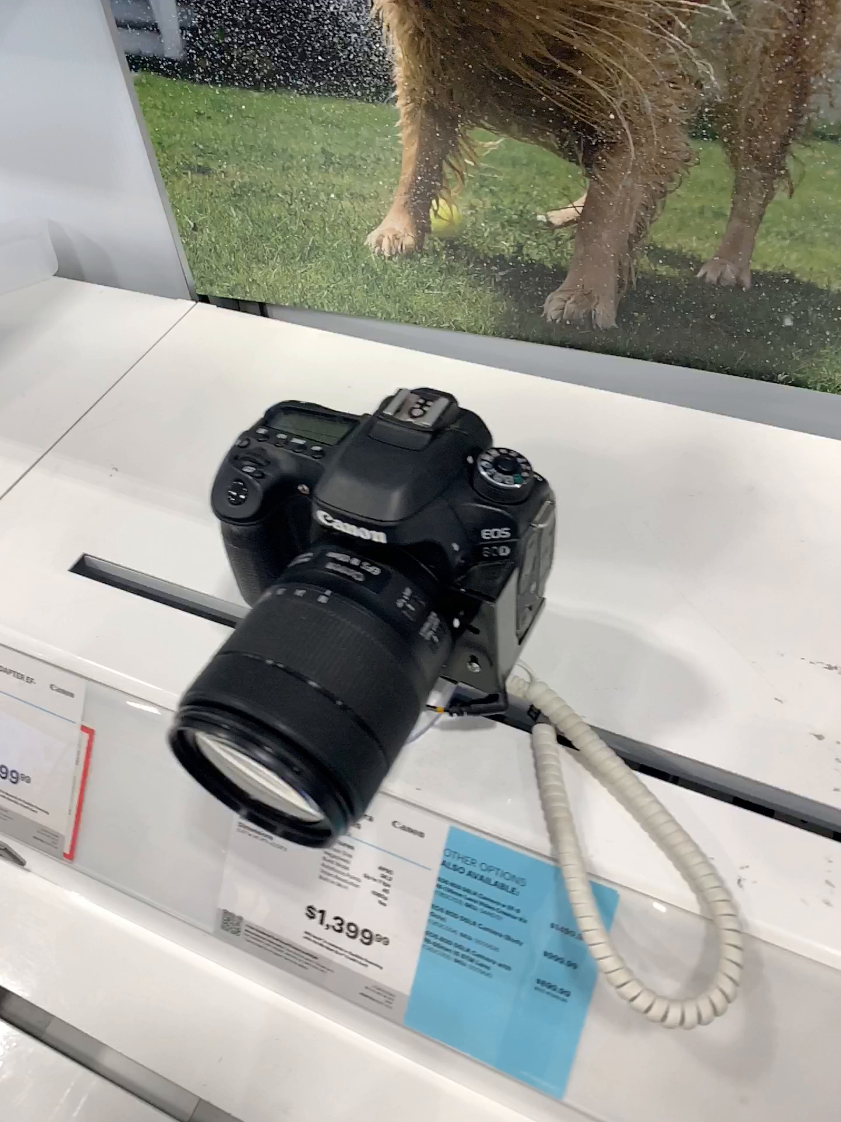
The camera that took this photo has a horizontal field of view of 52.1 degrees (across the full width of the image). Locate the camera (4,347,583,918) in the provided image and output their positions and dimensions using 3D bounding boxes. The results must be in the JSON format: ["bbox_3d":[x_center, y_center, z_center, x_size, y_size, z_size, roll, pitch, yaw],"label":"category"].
[{"bbox_3d":[-0.032,0.018,0.333,0.140,0.099,0.160,16,53,19],"label":"camera"}]
